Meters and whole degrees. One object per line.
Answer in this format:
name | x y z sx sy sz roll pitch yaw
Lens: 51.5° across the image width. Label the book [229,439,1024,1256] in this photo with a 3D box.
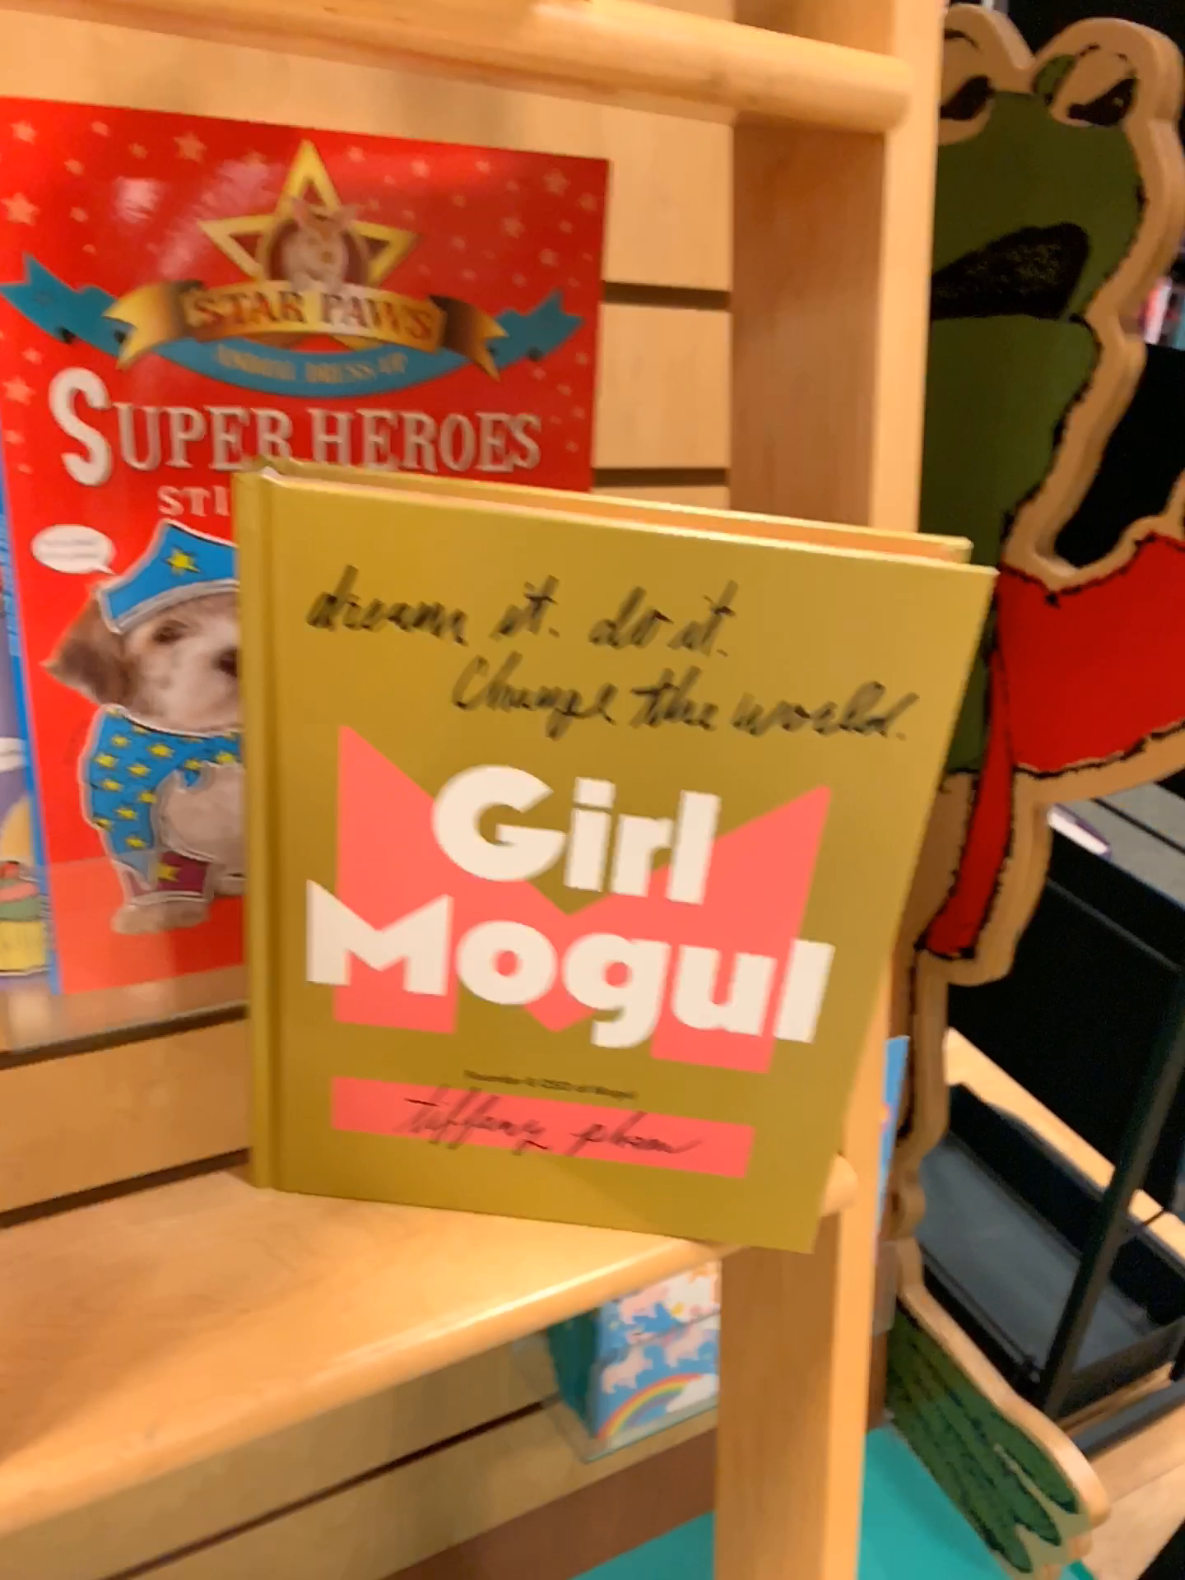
book | -0.004 0.028 0.339 0.180 0.219 0.030 7 27 -1
